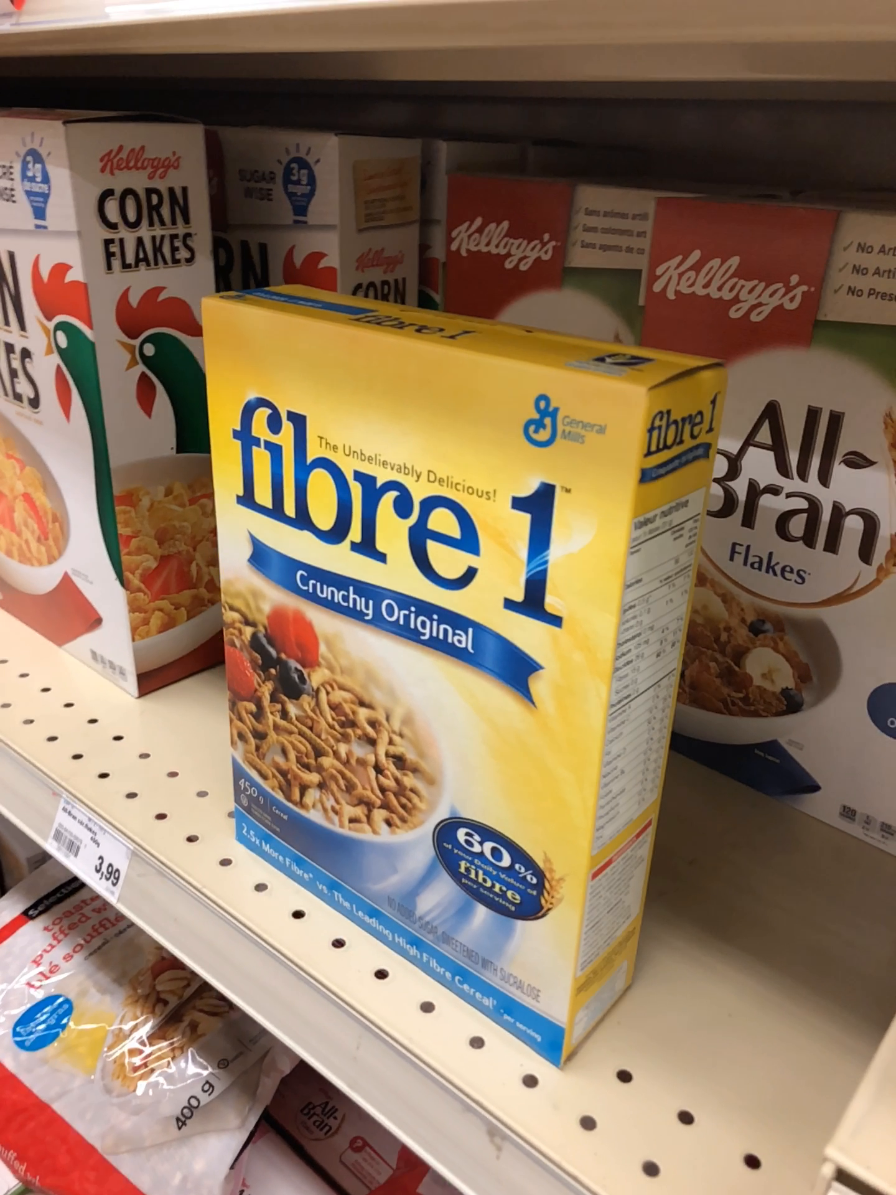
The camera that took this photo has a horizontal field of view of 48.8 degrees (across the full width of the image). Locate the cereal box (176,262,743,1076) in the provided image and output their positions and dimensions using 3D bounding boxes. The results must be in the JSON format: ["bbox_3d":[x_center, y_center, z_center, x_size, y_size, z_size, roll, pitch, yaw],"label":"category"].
[{"bbox_3d":[-0.013,0.018,0.401,0.211,0.268,0.060,22,32,36],"label":"cereal box"}]
